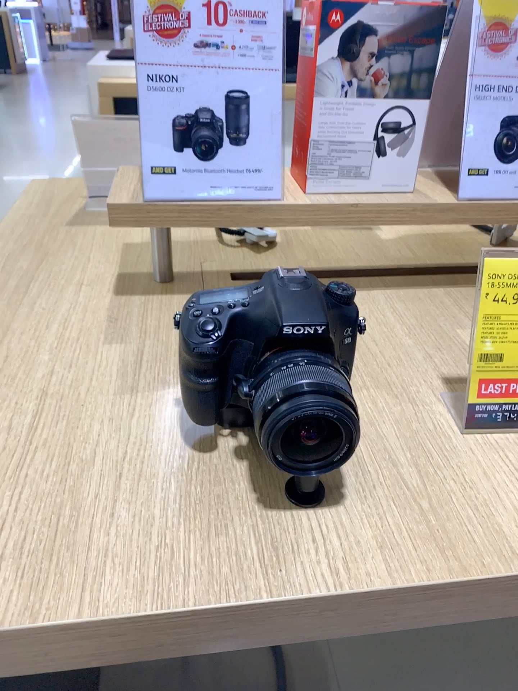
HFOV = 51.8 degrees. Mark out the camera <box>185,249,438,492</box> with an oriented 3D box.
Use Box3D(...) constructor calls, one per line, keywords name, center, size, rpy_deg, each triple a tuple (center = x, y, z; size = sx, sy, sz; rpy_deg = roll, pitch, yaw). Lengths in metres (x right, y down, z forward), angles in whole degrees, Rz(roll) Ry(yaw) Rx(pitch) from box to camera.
Box3D(name="camera", center=(0.017, 0.002, 0.364), size=(0.130, 0.070, 0.181), rpy_deg=(-2, 32, -7))
